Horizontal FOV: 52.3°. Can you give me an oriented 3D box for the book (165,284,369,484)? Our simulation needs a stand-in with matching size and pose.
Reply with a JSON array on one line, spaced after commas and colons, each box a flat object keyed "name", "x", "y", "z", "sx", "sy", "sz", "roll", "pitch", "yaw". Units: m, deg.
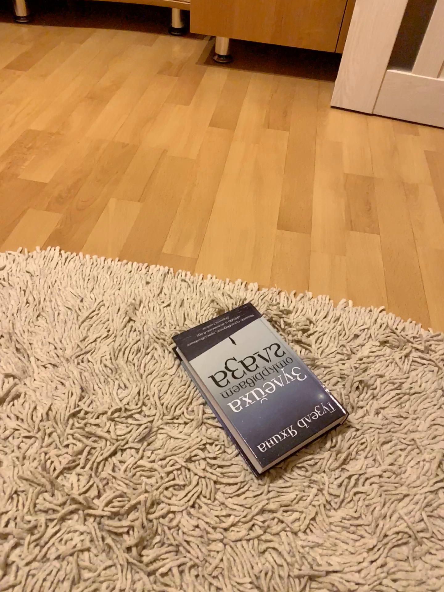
[{"name": "book", "x": 0.048, "y": 0.095, "z": 0.572, "sx": 0.150, "sy": 0.040, "sz": 0.221, "roll": -24, "pitch": 53, "yaw": -24}]
